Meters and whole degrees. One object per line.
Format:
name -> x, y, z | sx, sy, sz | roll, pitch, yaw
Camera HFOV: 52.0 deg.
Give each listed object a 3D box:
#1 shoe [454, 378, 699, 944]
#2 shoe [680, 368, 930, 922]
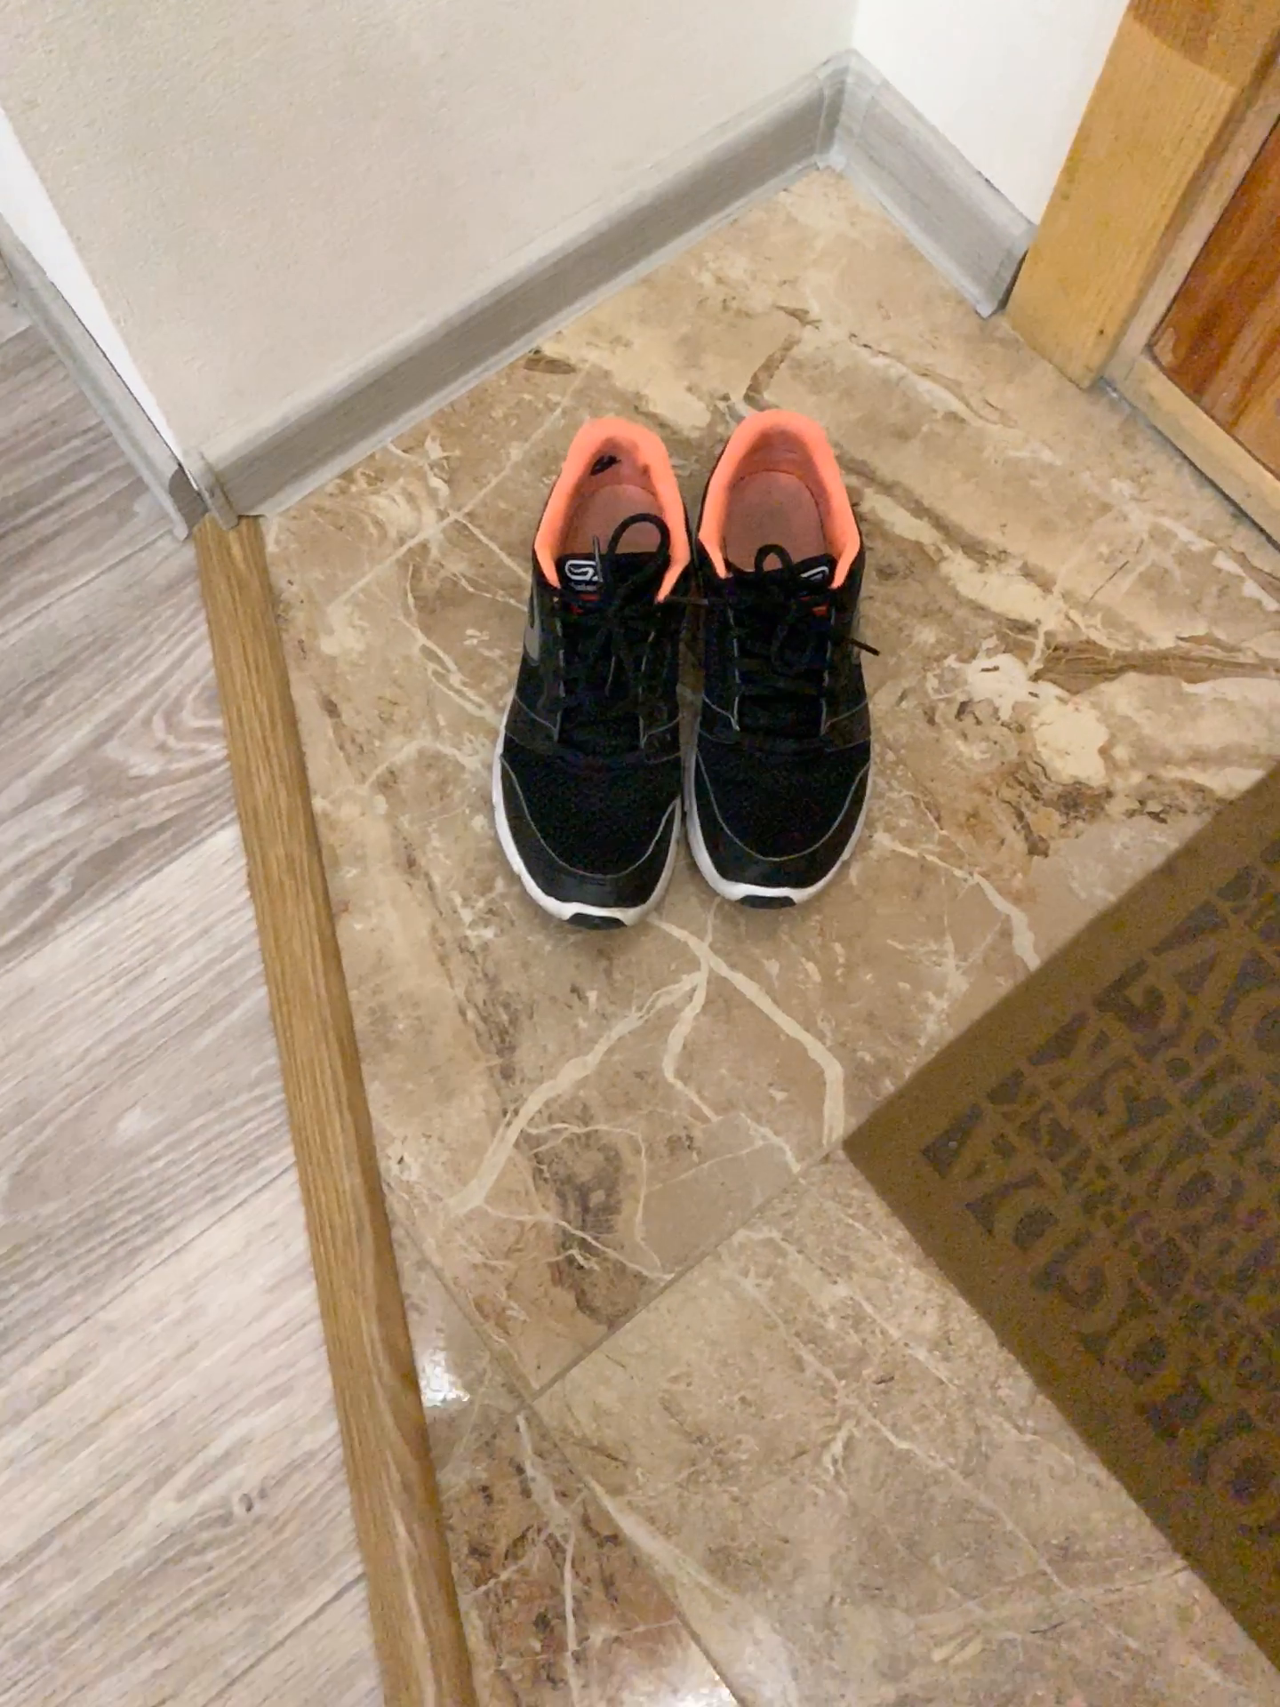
shoe -> -0.026, -0.091, 0.635 | 0.100, 0.100, 0.250 | 2, 72, -1
shoe -> 0.073, -0.099, 0.637 | 0.100, 0.100, 0.244 | 2, 72, -1
